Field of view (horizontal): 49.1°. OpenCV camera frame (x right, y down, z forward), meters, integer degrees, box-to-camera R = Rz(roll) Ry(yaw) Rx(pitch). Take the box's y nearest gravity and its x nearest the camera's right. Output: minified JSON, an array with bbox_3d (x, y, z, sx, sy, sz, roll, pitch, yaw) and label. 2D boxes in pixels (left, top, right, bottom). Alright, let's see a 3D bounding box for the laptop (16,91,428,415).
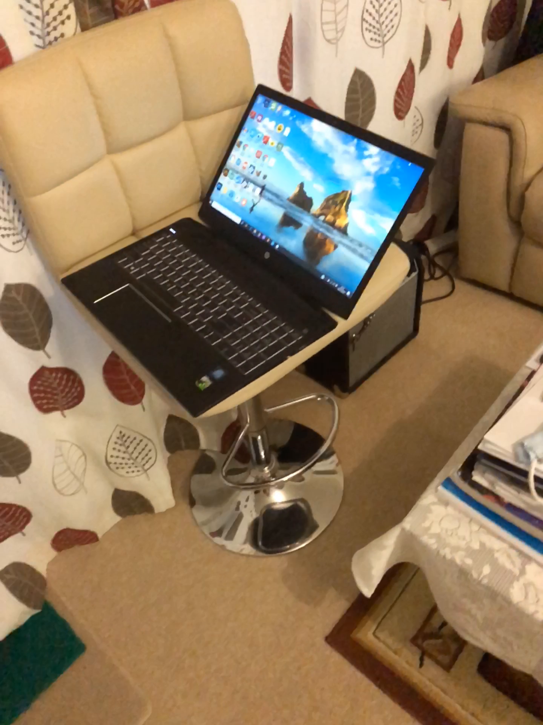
[{"bbox_3d":[-0.059,-0.185,0.816,0.401,0.159,0.349,-33,52,-25],"label":"laptop"}]
